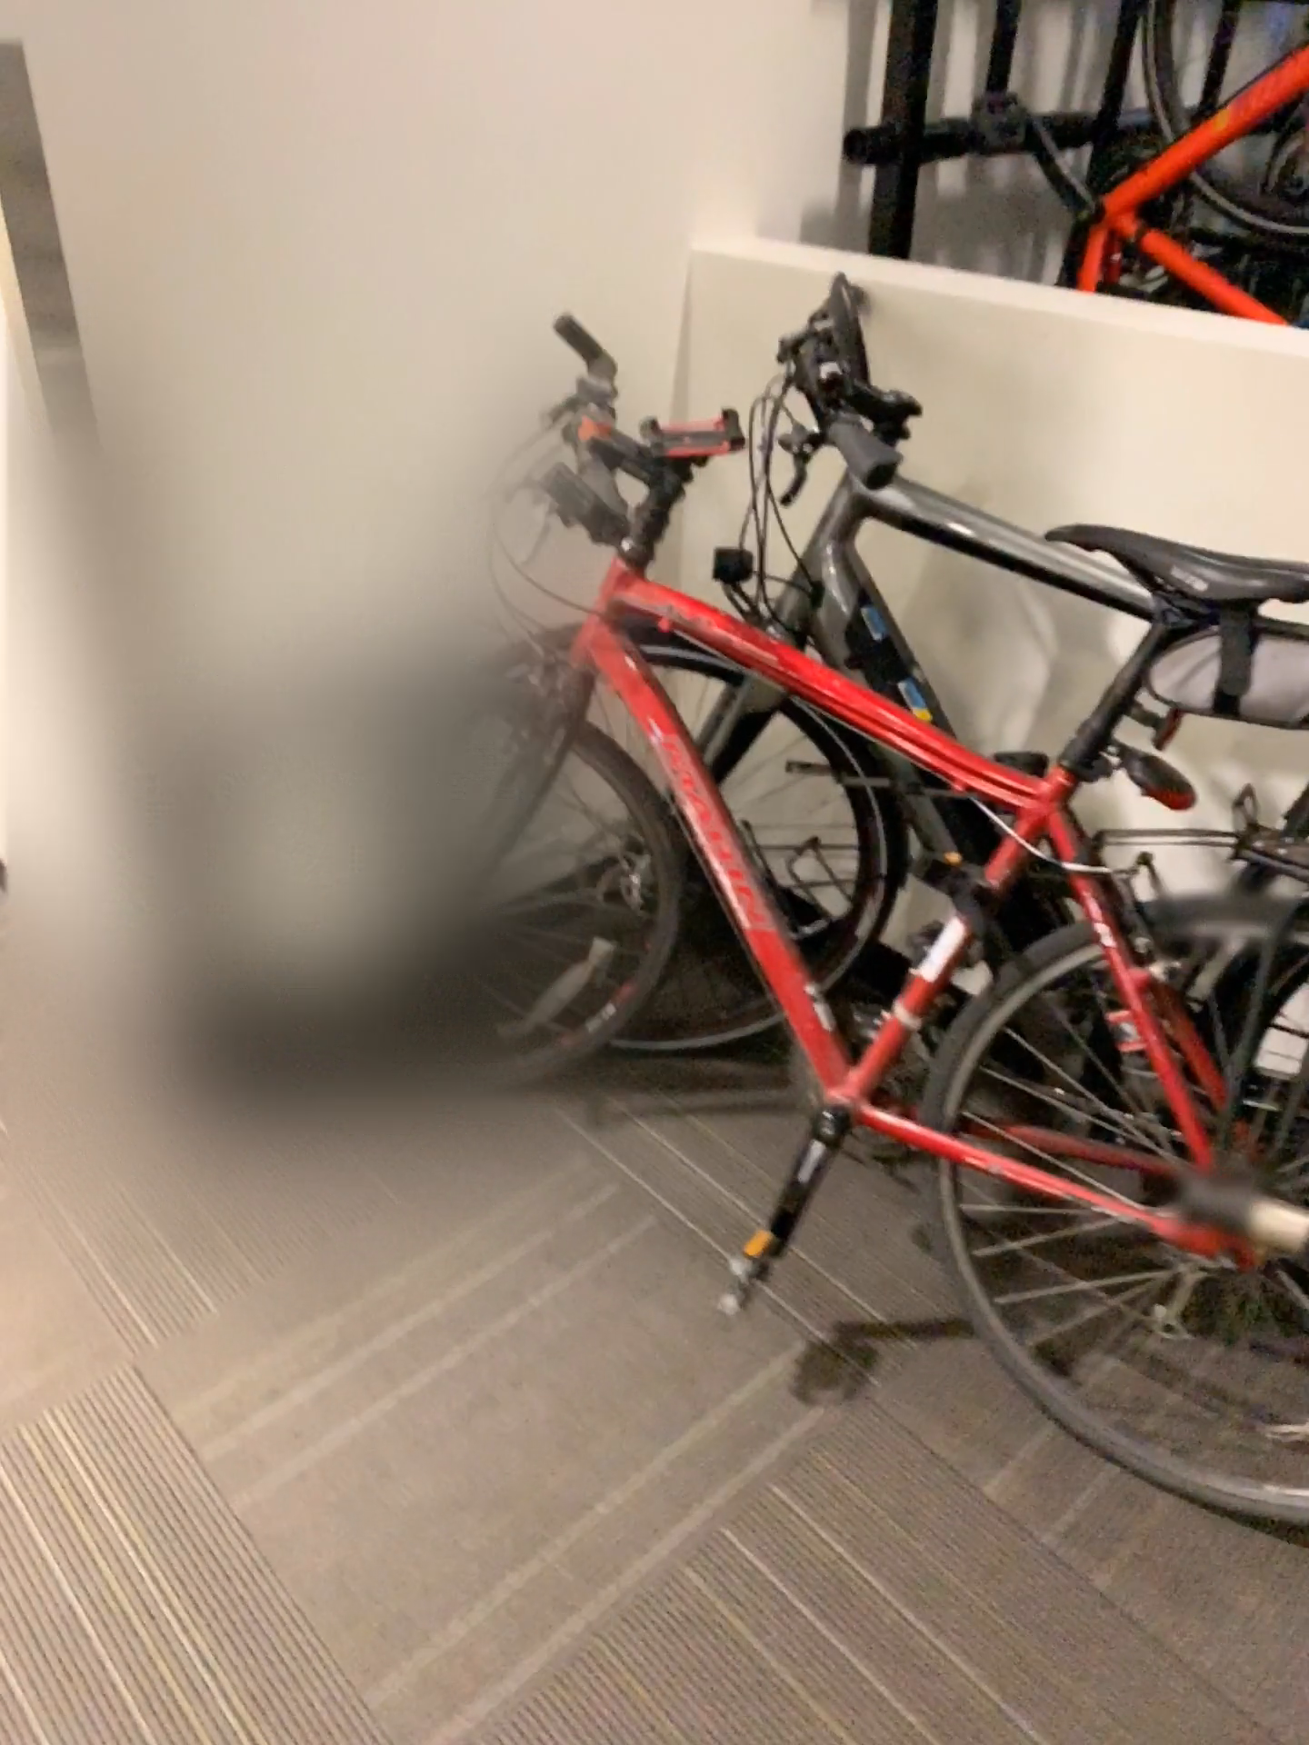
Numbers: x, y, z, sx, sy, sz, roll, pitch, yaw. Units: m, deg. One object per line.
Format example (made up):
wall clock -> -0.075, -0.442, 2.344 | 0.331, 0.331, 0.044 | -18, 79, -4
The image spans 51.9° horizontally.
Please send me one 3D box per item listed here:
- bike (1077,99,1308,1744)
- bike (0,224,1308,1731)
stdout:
bike -> 0.942, 0.086, 1.293 | 0.727, 1.149, 0.695 | 20, 37, 18
bike -> 0.197, -0.003, 1.428 | 1.614, 0.927, 0.605 | 18, 36, 18
